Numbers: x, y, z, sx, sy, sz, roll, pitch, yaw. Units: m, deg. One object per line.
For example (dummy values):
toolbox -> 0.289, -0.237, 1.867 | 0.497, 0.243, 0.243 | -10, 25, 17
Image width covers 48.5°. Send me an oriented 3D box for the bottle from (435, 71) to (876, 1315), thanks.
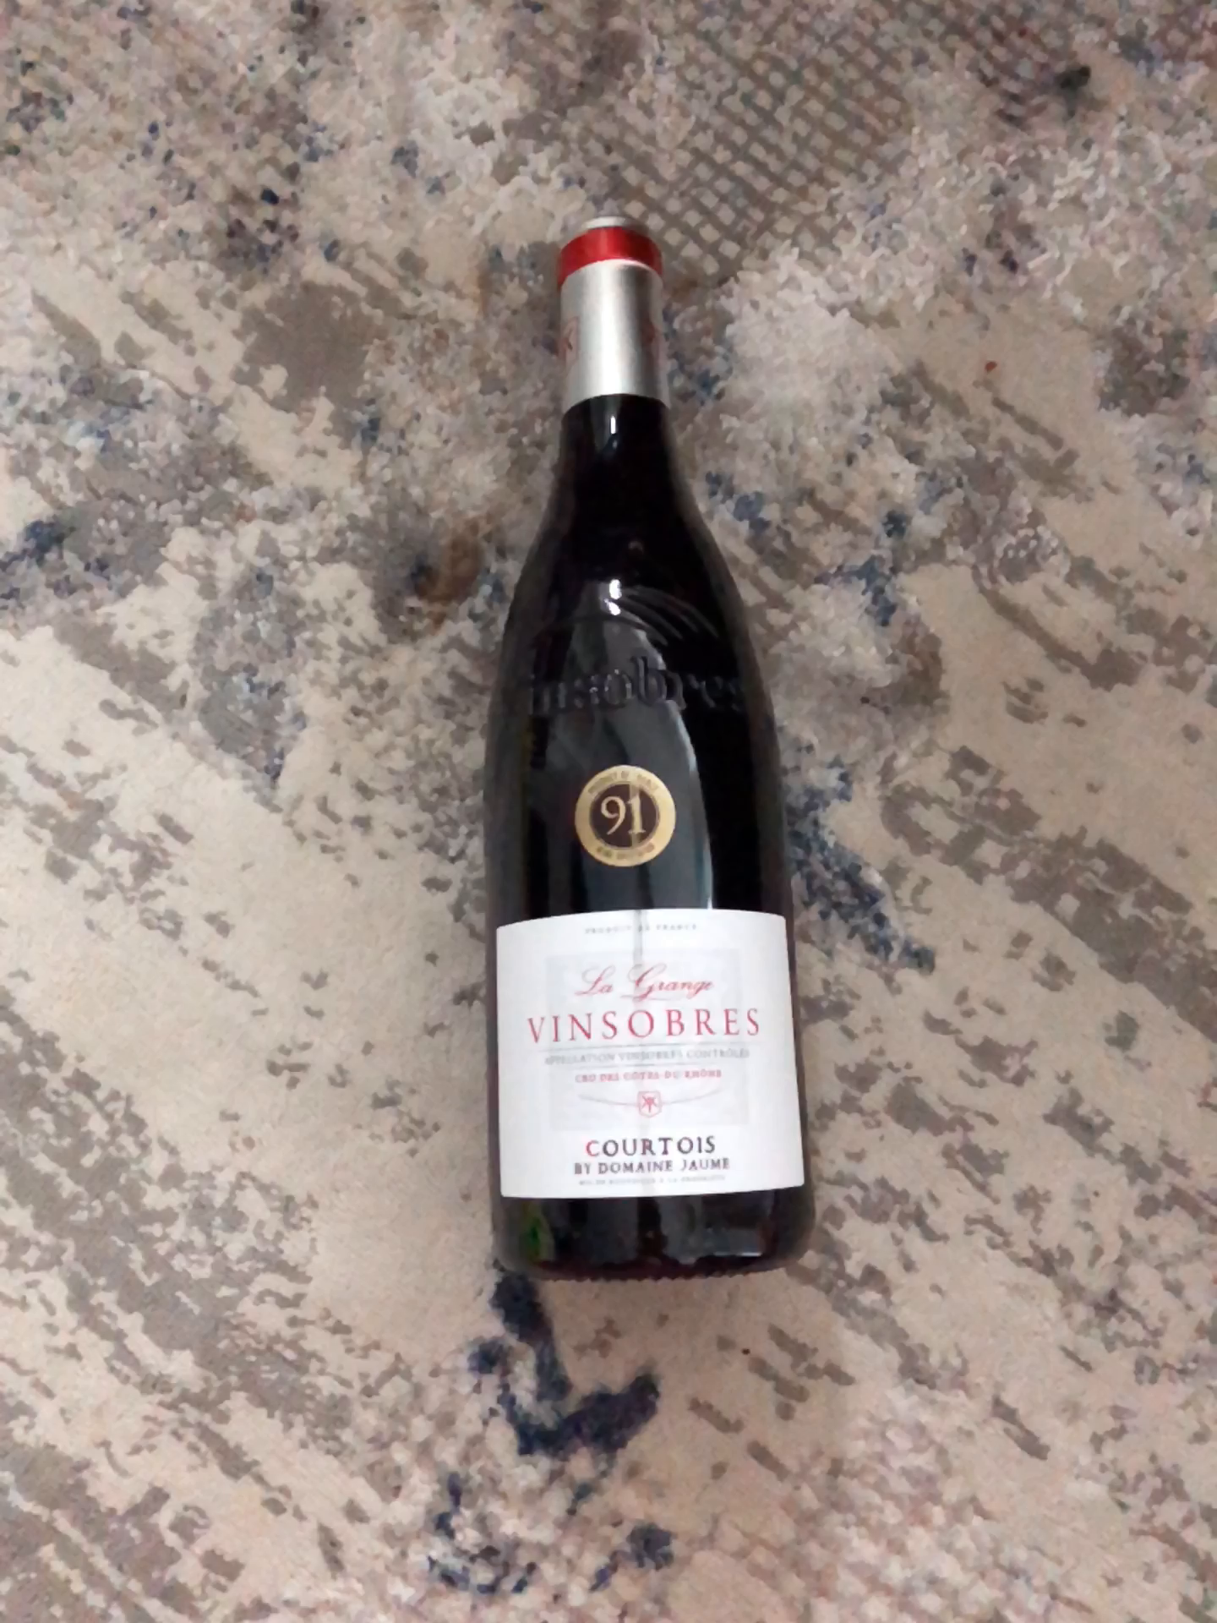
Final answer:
bottle -> 0.005, -0.032, 0.364 | 0.090, 0.100, 0.300 | -2, 78, -2
